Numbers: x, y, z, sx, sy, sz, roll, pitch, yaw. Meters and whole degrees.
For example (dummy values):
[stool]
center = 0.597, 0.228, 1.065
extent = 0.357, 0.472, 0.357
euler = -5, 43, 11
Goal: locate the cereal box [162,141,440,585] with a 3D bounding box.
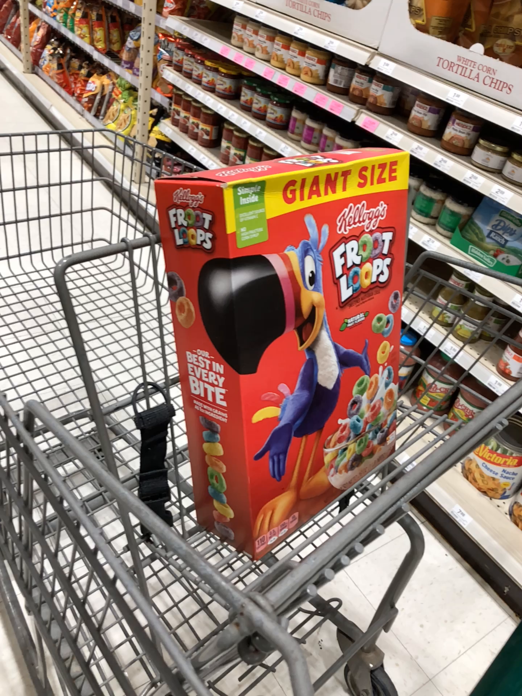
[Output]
[cereal box]
center = 0.056, -0.001, 0.574
extent = 0.261, 0.369, 0.090
euler = -22, 29, -38
